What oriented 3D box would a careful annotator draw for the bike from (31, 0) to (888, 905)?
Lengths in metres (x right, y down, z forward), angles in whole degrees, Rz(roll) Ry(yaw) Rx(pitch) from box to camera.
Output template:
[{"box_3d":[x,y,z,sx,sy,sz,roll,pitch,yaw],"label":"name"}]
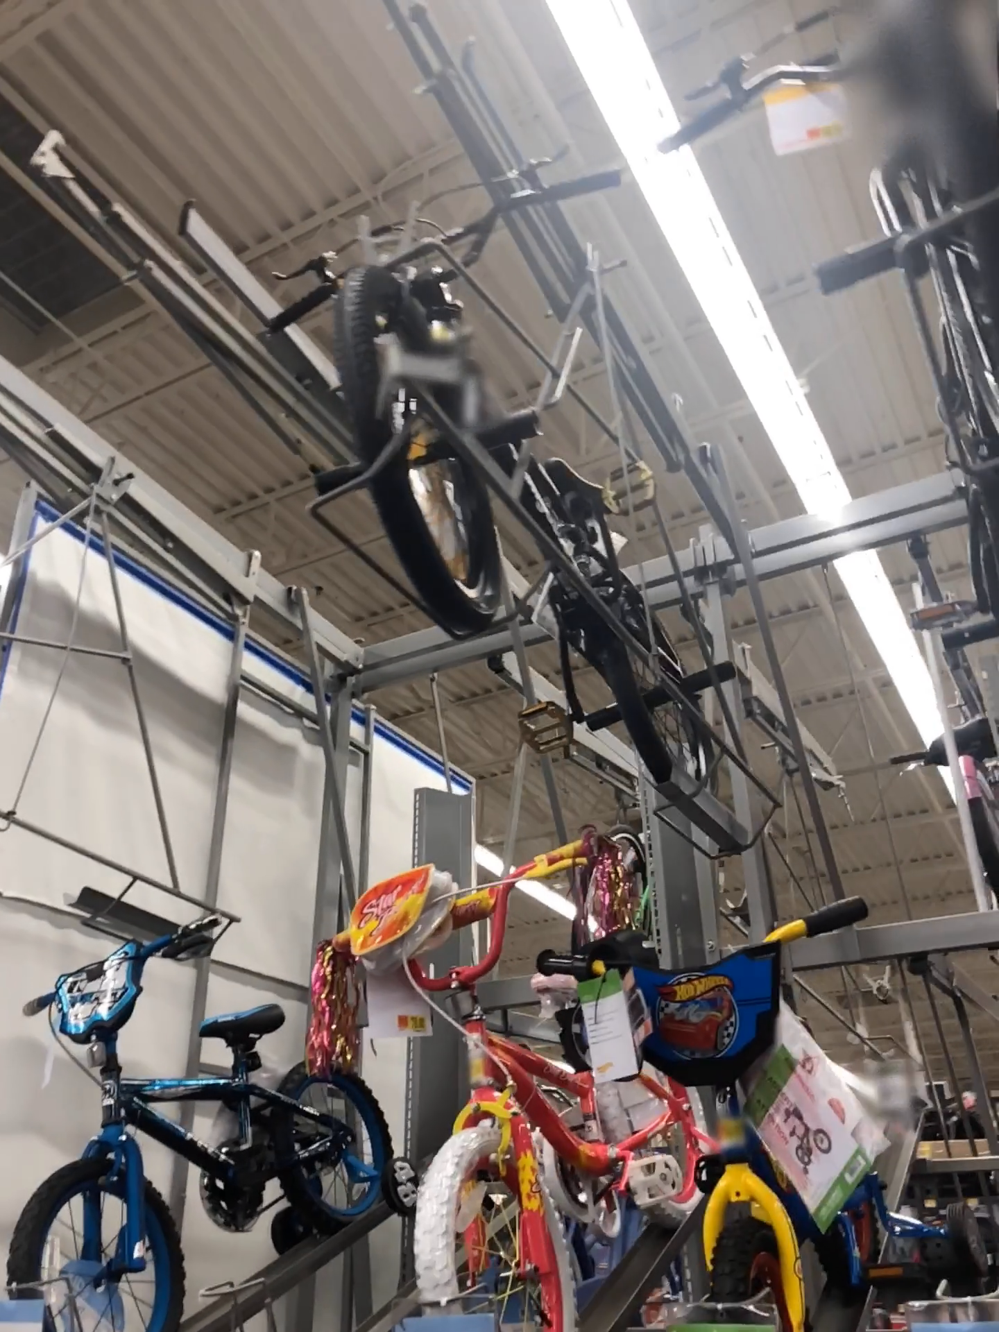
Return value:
[{"box_3d":[0.069,-0.255,1.934,0.753,0.909,1.346,-16,-32,25],"label":"bike"}]
